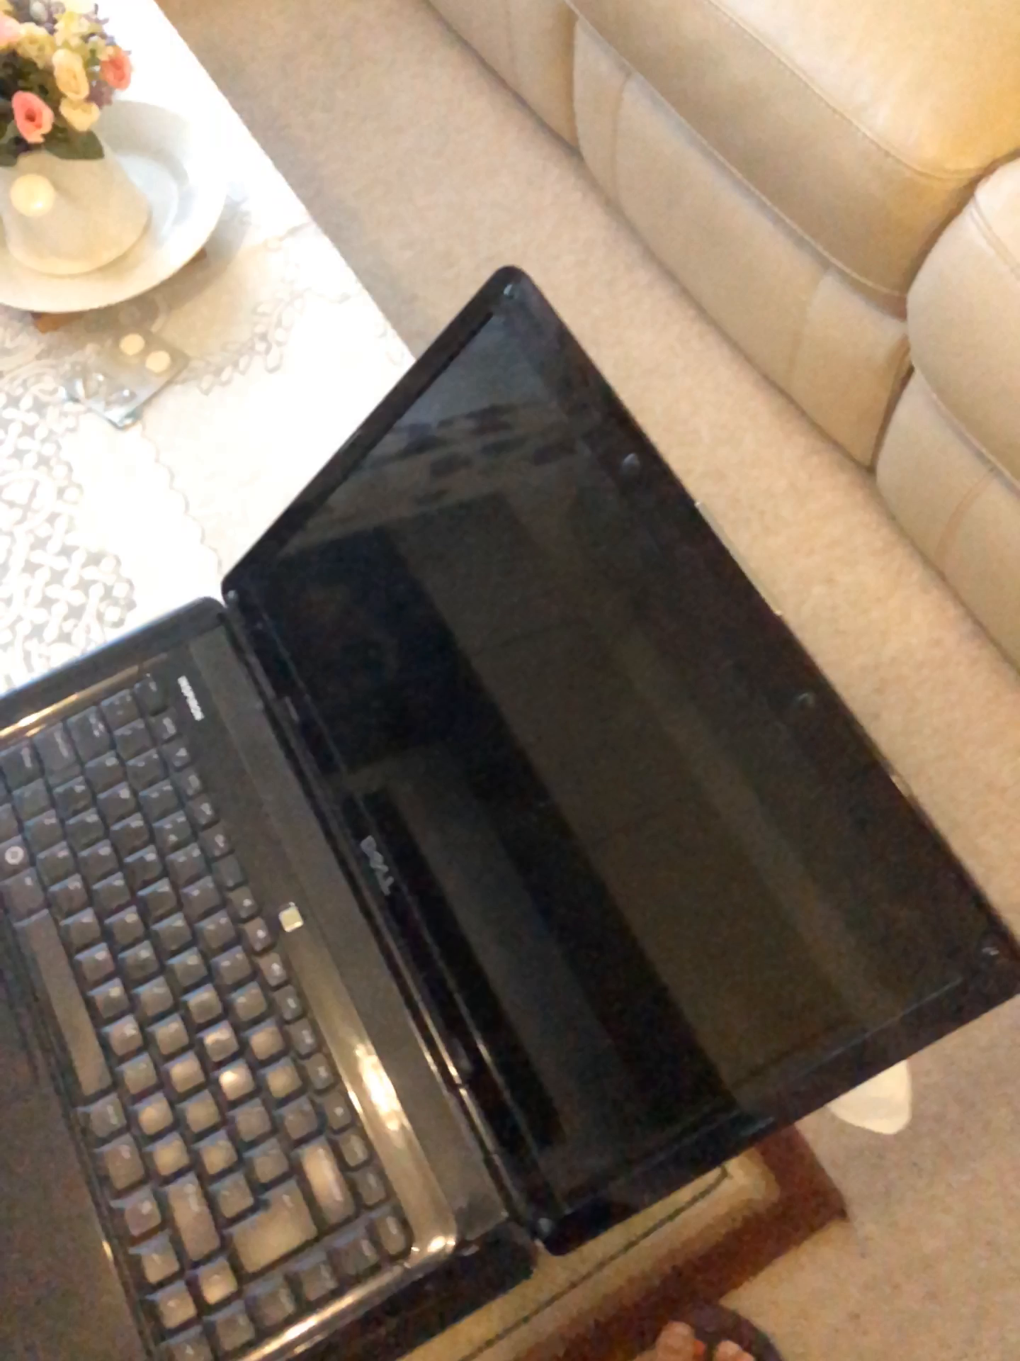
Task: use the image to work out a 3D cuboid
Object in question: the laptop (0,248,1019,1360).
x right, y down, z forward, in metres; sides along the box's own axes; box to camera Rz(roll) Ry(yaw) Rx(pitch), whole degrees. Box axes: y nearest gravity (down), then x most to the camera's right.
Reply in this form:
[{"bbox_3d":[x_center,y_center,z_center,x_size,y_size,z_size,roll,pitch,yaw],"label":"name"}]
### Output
[{"bbox_3d":[-0.086,0.072,0.476,0.418,0.122,0.364,-29,68,-8],"label":"laptop"}]
